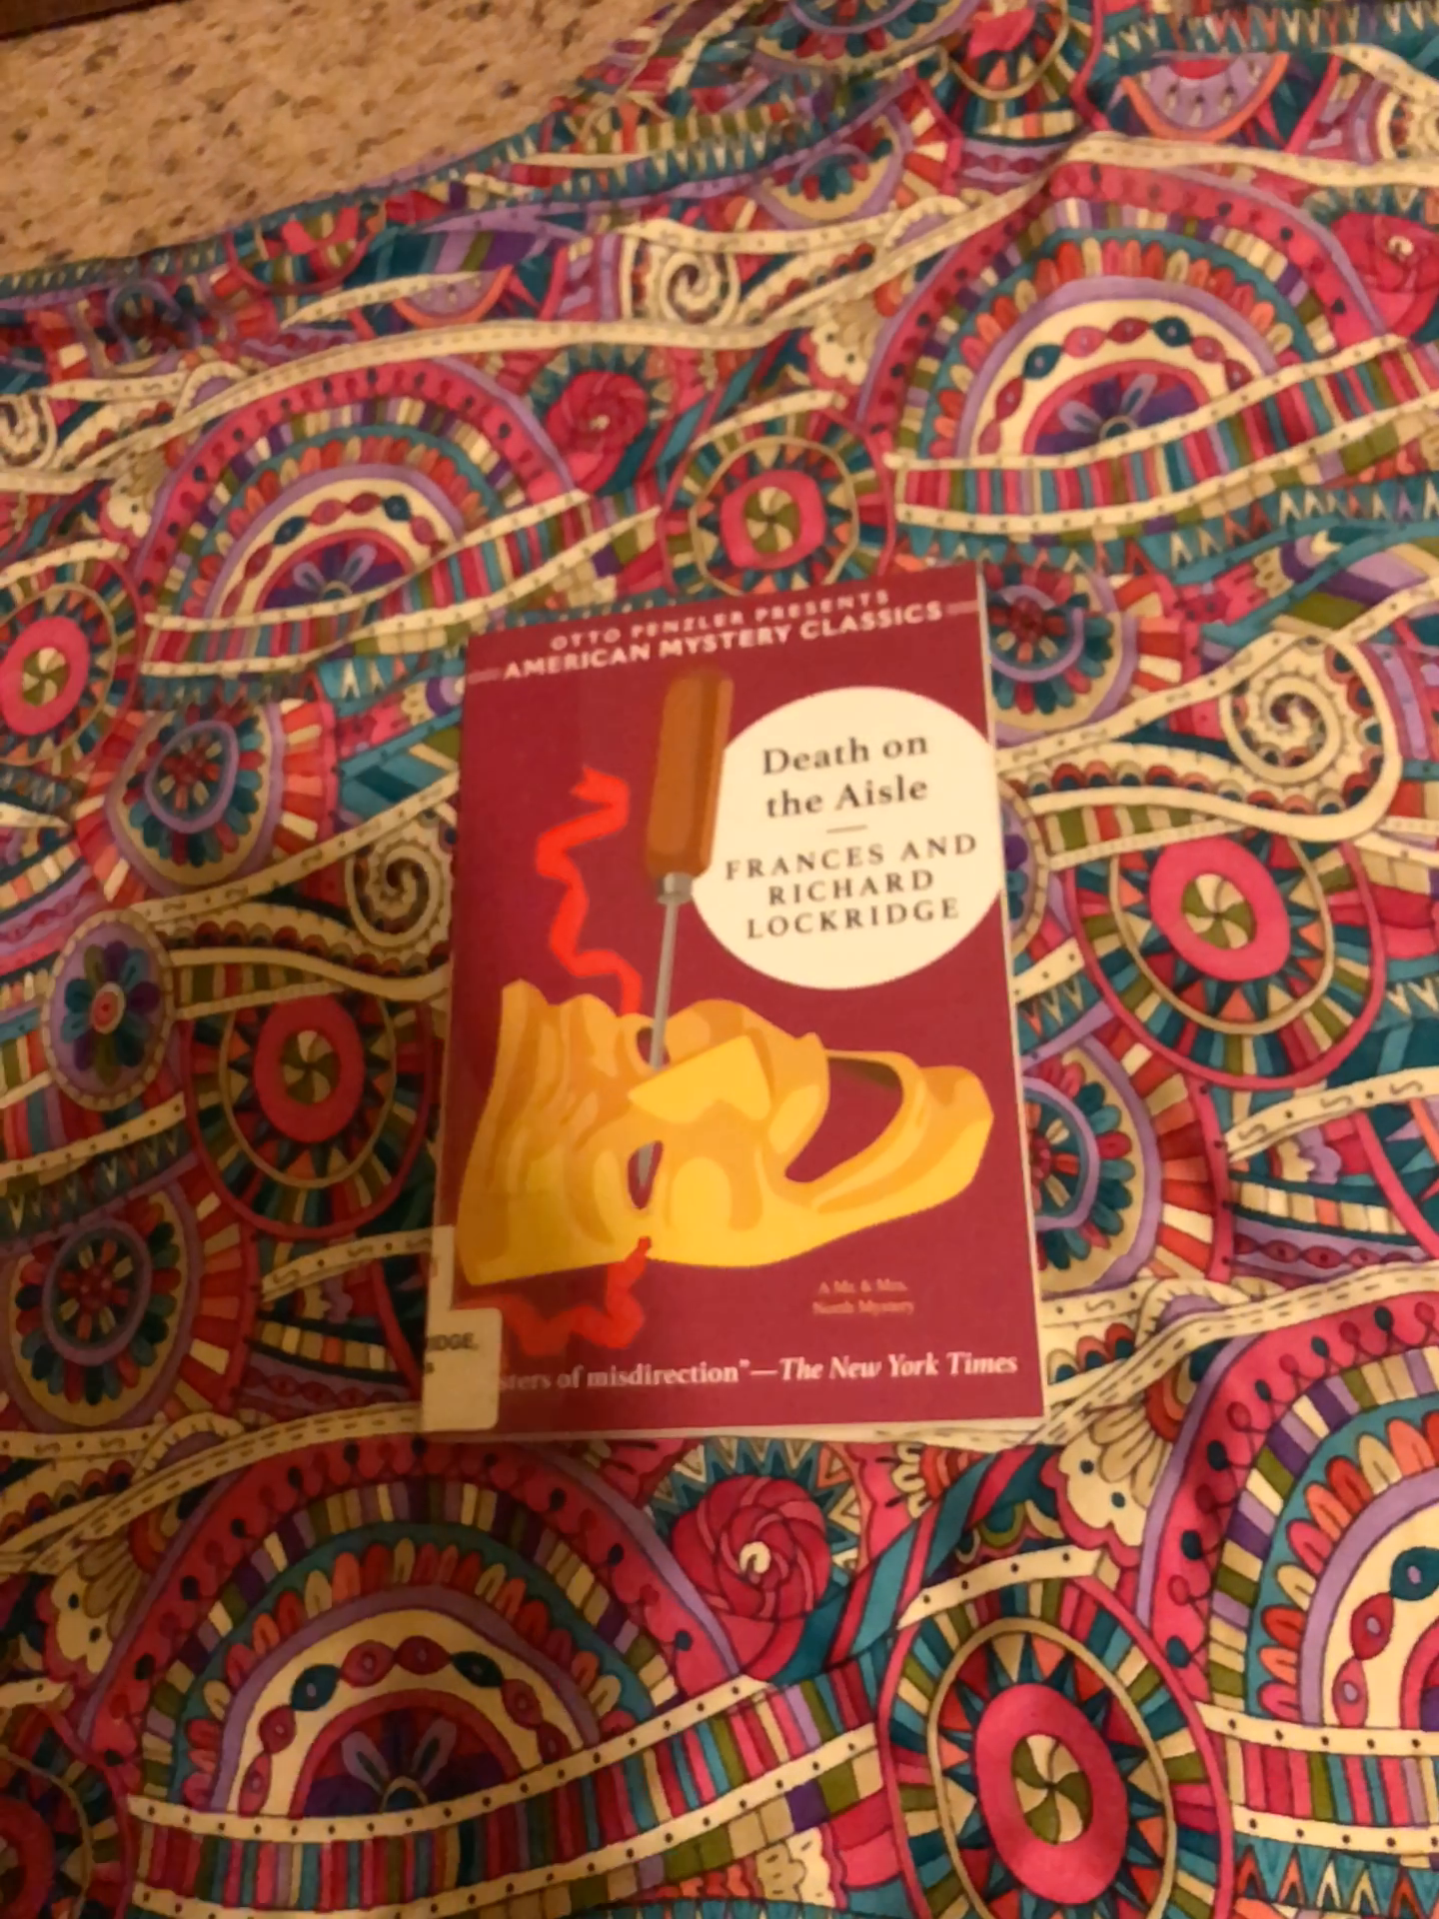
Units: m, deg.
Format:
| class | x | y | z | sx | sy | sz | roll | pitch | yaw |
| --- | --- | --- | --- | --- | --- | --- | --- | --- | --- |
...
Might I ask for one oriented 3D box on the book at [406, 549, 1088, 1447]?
| class | x | y | z | sx | sy | sz | roll | pitch | yaw |
| --- | --- | --- | --- | --- | --- | --- | --- | --- | --- |
| book | 0.004 | 0.006 | 0.363 | 0.137 | 0.024 | 0.196 | -5 | 69 | 11 |
